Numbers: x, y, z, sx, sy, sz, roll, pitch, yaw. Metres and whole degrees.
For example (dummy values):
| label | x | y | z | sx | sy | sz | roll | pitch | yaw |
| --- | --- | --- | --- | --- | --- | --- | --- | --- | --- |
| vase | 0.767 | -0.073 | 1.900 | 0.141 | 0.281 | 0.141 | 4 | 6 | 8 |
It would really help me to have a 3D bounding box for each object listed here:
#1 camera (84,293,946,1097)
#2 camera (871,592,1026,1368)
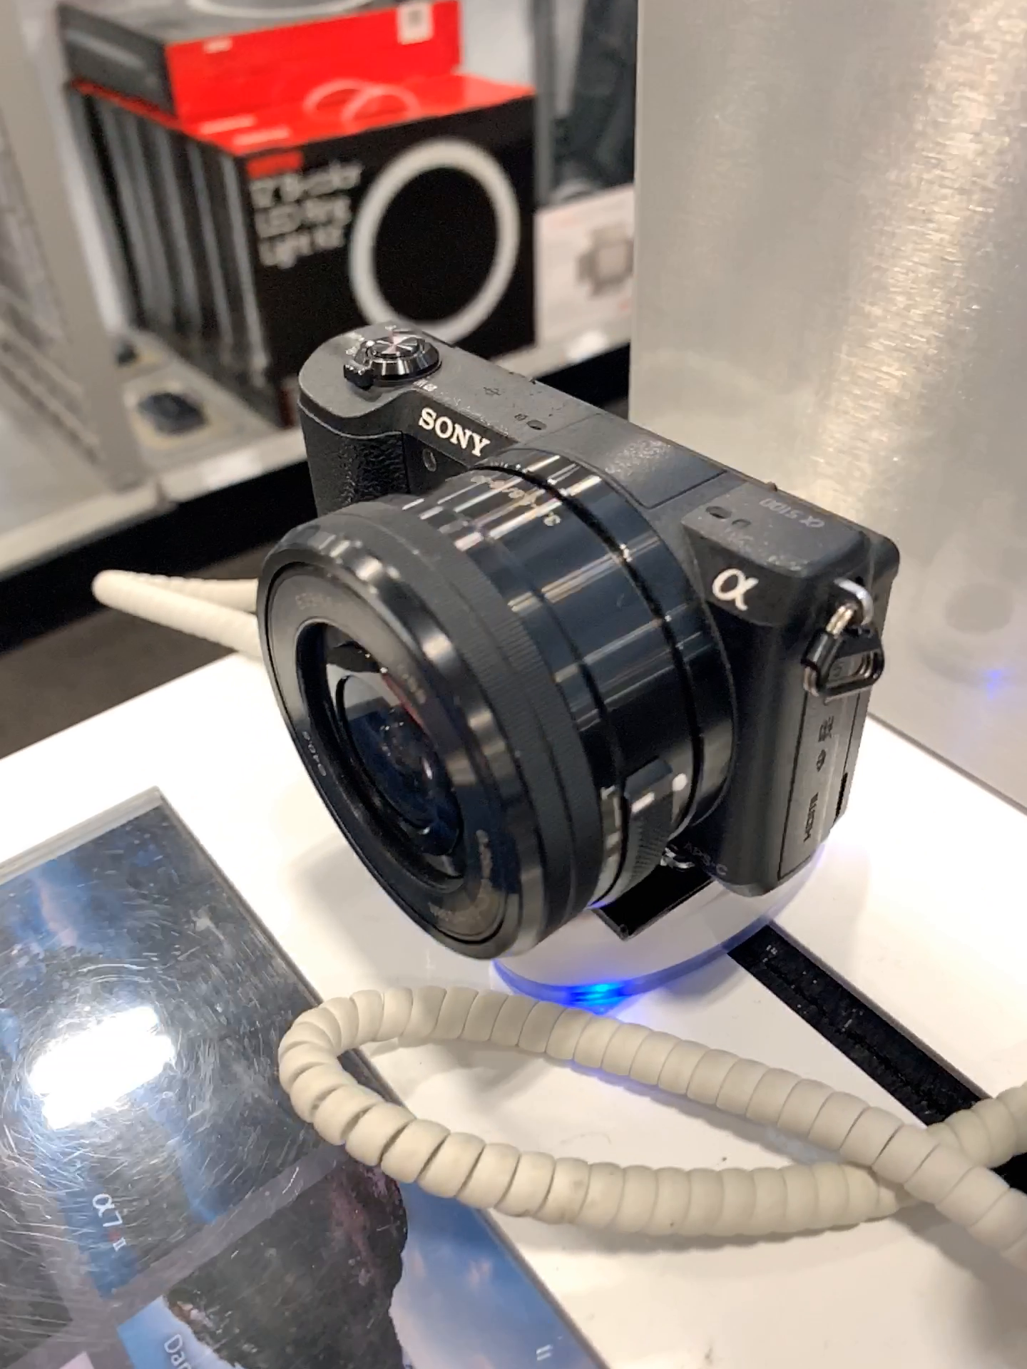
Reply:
| label | x | y | z | sx | sy | sz | roll | pitch | yaw |
| --- | --- | --- | --- | --- | --- | --- | --- | --- | --- |
| camera | -0.006 | -0.009 | 0.173 | 0.066 | 0.060 | 0.113 | -31 | 47 | -28 |
| camera | 0.102 | 0.062 | 0.056 | 0.071 | 0.060 | 0.137 | -23 | 44 | -28 |
